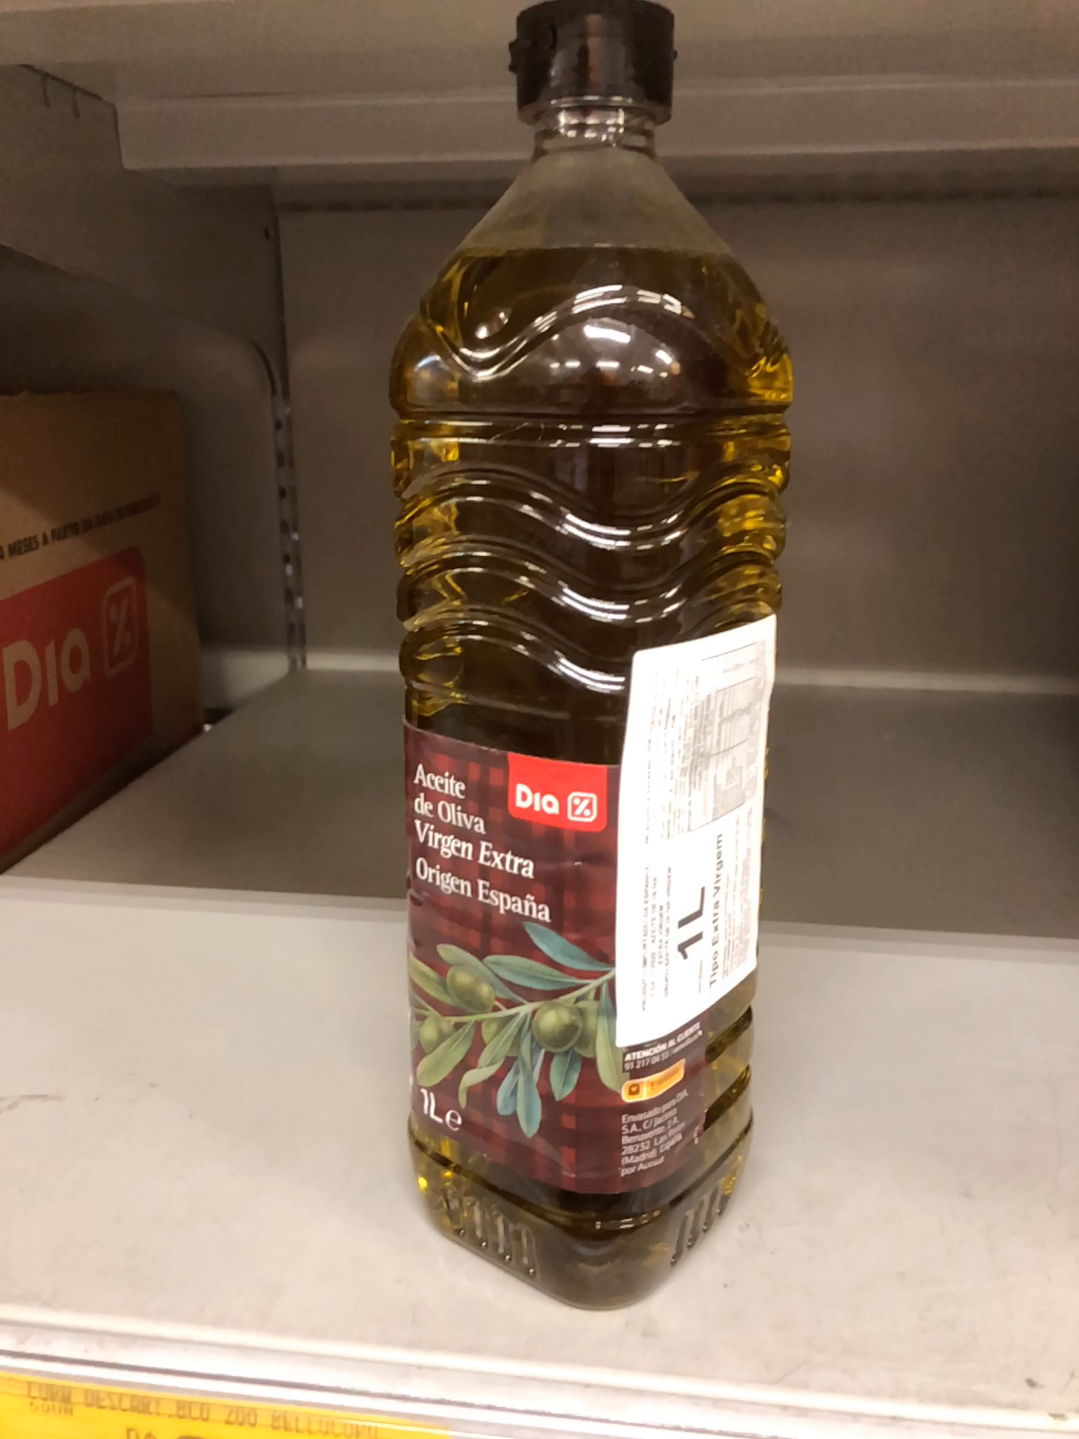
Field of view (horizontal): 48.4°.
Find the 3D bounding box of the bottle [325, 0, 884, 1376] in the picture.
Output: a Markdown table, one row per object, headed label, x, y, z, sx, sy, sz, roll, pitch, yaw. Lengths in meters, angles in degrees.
| label | x | y | z | sx | sy | sz | roll | pitch | yaw |
| --- | --- | --- | --- | --- | --- | --- | --- | --- | --- |
| bottle | 0.011 | -0.009 | 0.265 | 0.080 | 0.278 | 0.070 | 12 | 20 | 33 |
